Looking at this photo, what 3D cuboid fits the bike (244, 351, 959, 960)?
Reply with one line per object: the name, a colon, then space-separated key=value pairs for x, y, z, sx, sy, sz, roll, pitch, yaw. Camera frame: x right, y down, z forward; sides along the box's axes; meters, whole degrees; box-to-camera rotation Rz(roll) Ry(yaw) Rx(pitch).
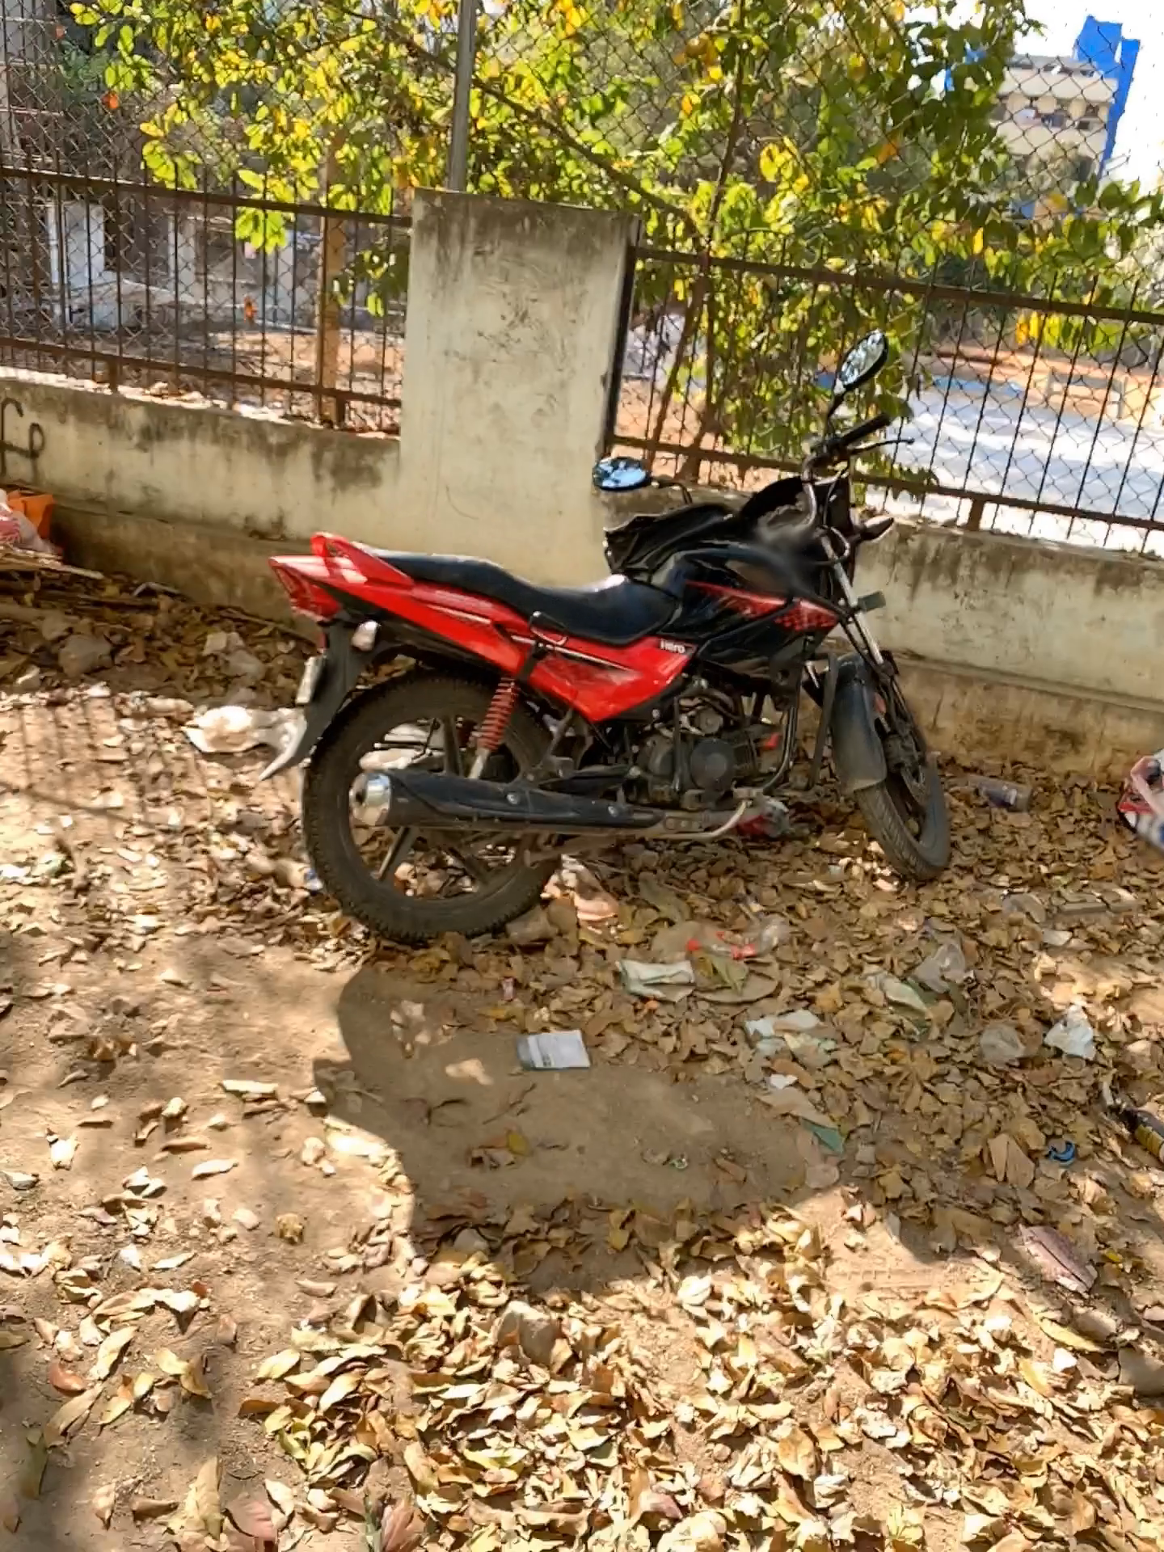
bike: x=-0.037 y=-0.379 z=2.773 sx=1.291 sy=1.067 sz=0.825 roll=-7 pitch=27 yaw=-25
